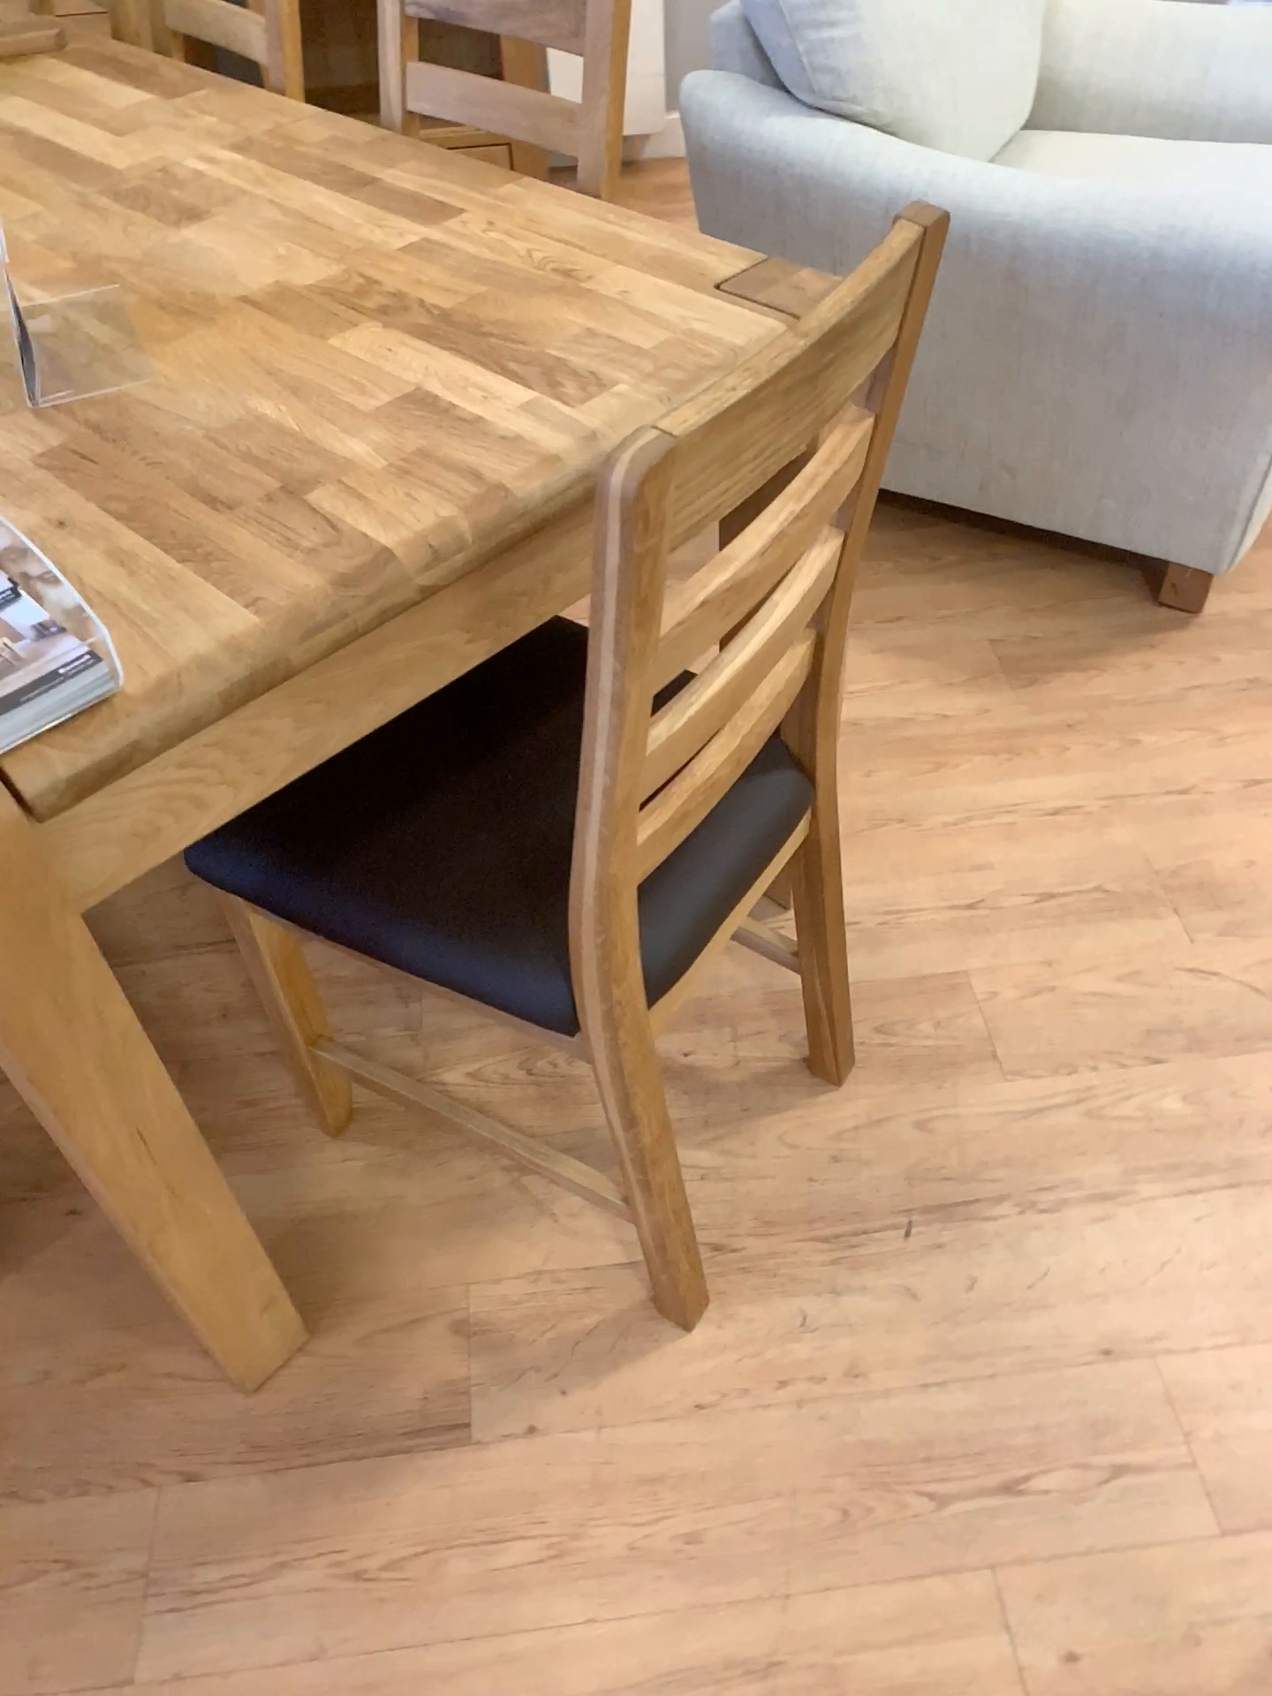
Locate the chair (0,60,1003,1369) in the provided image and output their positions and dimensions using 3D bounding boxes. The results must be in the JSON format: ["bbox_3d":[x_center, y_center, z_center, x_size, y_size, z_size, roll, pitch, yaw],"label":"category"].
[{"bbox_3d":[-0.089,-0.061,1.100,0.519,0.917,0.423,24,52,24],"label":"chair"}]
